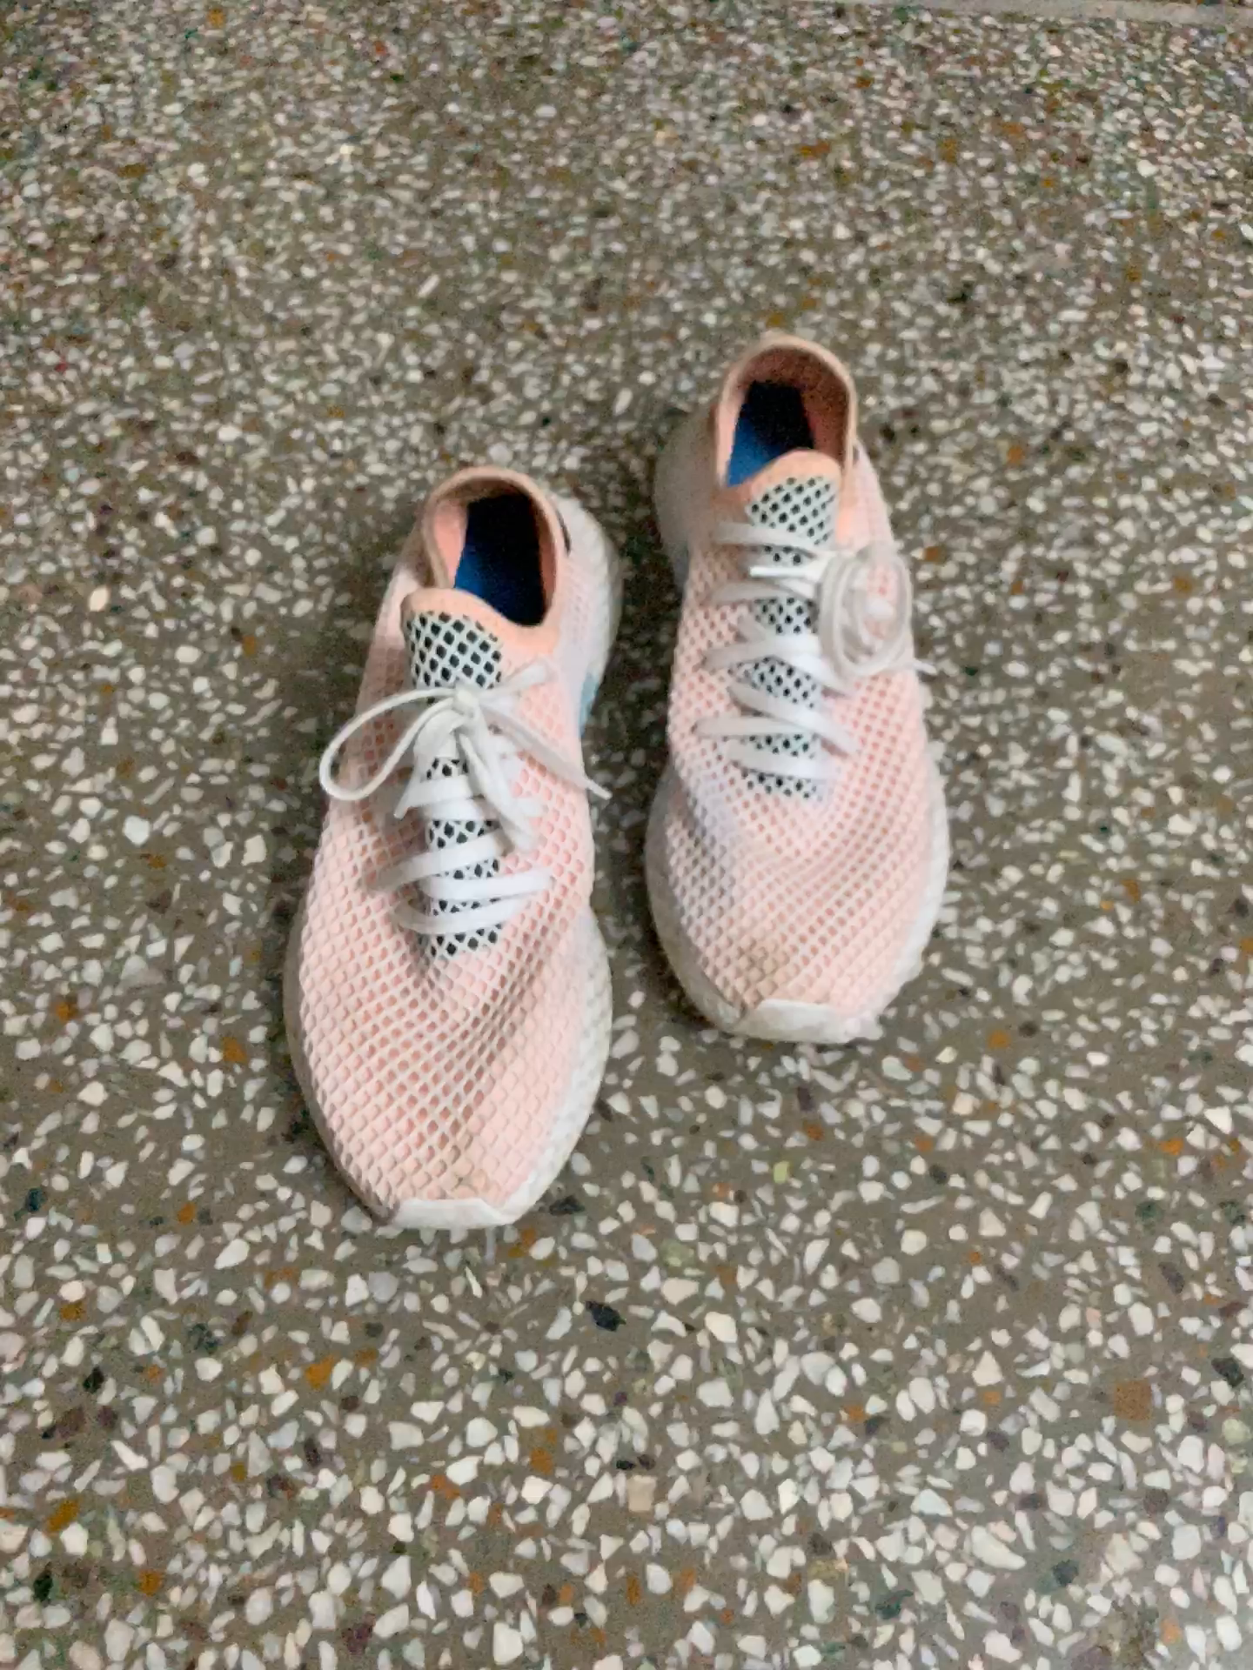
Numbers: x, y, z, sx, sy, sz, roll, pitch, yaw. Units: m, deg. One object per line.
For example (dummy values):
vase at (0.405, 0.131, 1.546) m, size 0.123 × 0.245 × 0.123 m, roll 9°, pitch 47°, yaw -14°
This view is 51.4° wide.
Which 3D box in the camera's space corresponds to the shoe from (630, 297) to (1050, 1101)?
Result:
shoe at (0.065, -0.062, 0.510) m, size 0.122 × 0.100 × 0.310 m, roll 0°, pitch 62°, yaw -1°

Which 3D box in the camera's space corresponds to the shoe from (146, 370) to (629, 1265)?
shoe at (-0.066, -0.016, 0.472) m, size 0.122 × 0.100 × 0.310 m, roll 2°, pitch 62°, yaw 0°
